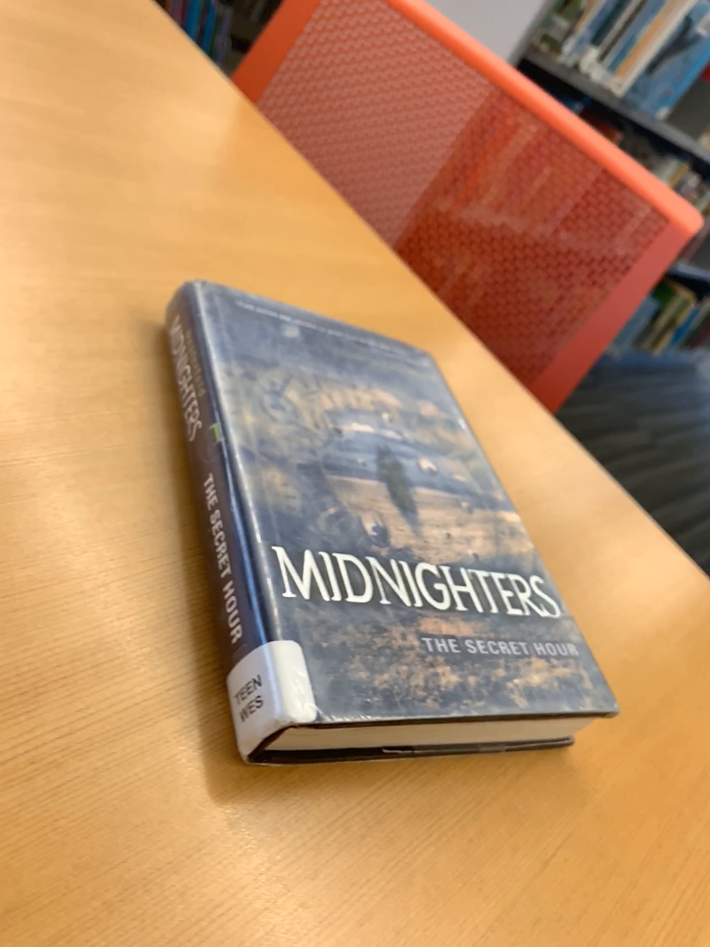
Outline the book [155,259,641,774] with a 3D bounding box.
[{"bbox_3d":[0.006,0.008,0.316,0.150,0.040,0.215,11,42,-33],"label":"book"}]
